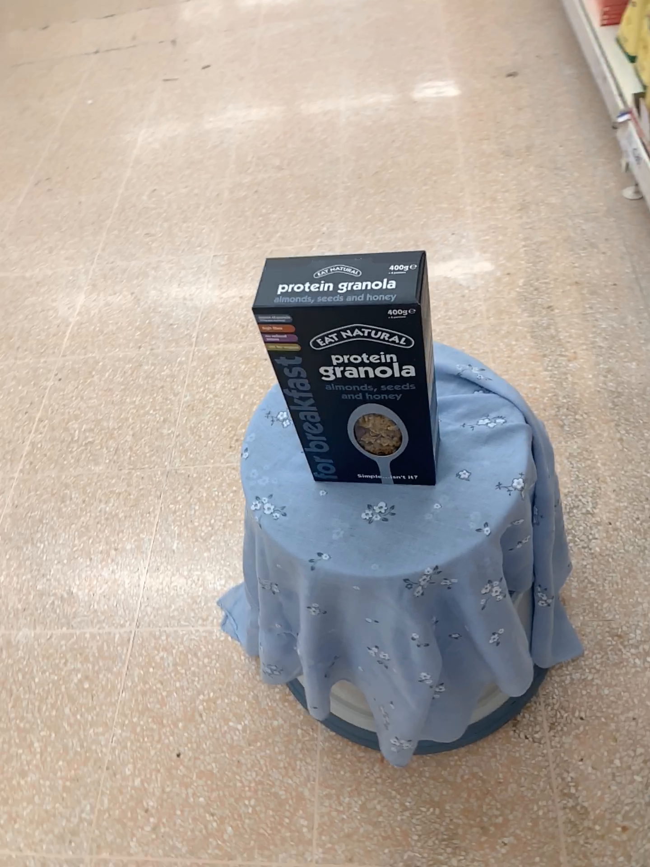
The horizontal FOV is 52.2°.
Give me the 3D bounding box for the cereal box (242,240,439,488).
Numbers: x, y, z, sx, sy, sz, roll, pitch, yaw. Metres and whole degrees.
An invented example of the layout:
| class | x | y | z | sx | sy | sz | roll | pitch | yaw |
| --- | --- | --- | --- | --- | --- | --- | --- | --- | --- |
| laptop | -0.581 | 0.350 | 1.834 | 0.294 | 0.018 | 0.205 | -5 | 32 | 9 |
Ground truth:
| class | x | y | z | sx | sy | sz | roll | pitch | yaw |
| --- | --- | --- | --- | --- | --- | --- | --- | --- | --- |
| cereal box | 0.029 | -0.046 | 0.574 | 0.130 | 0.238 | 0.071 | 1 | 56 | 12 |
